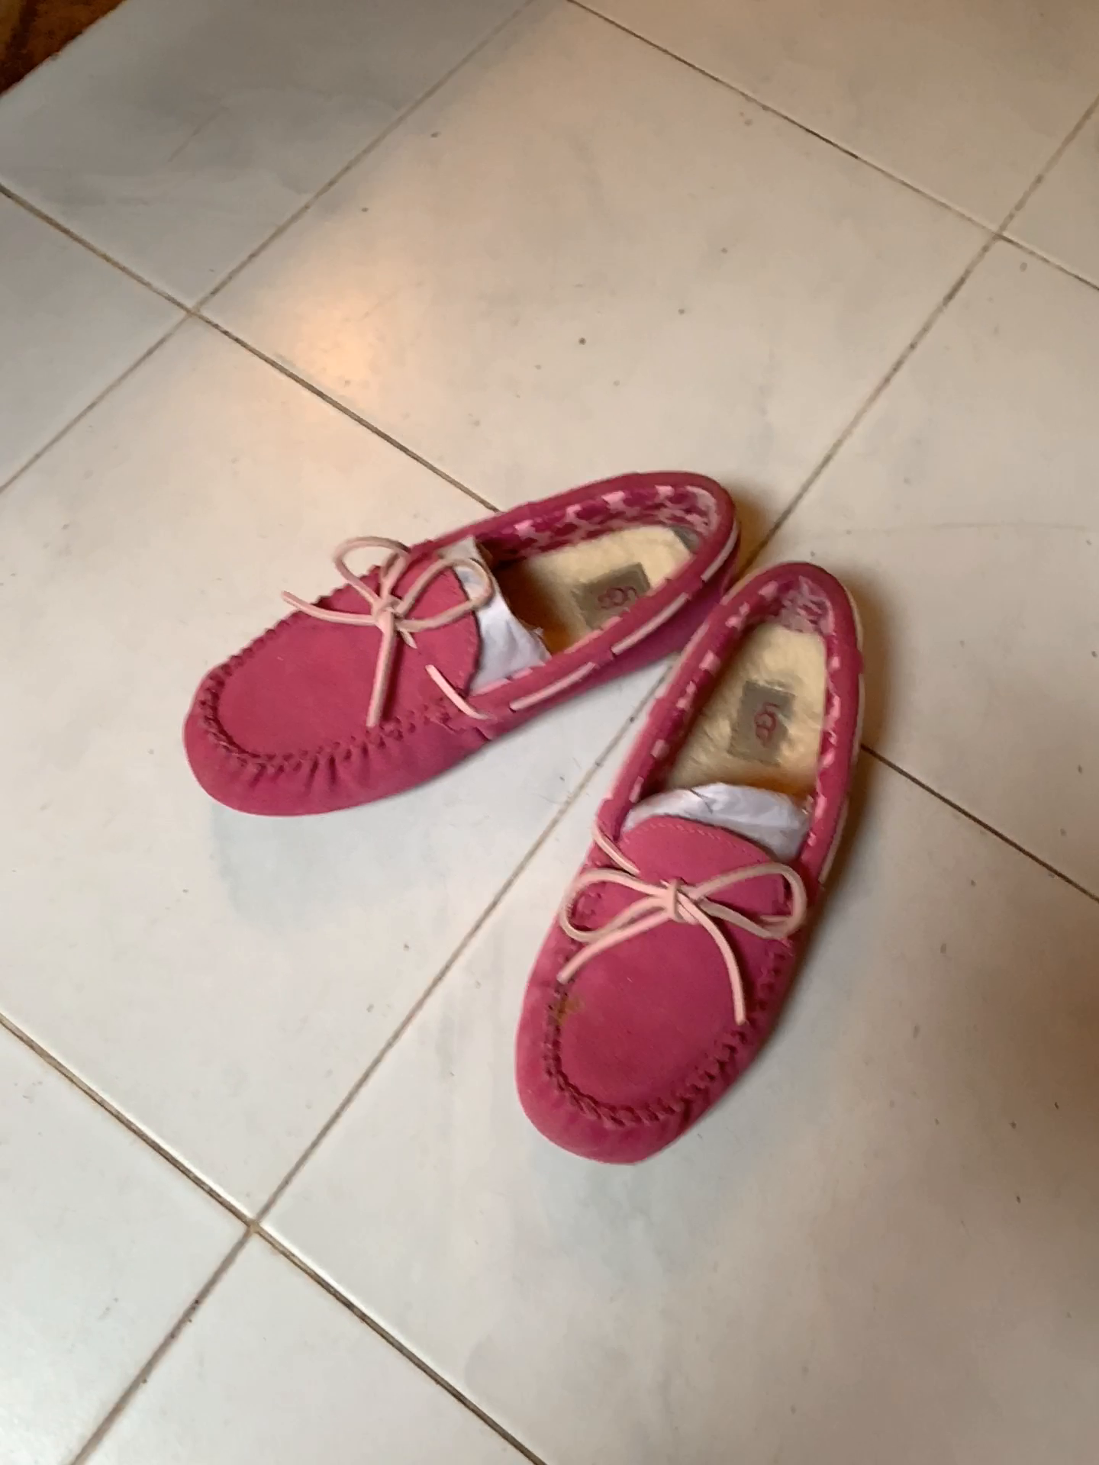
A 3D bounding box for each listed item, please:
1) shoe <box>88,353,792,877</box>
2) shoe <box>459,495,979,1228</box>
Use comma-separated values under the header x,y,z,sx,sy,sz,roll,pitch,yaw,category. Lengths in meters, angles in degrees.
x,y,z,sx,sy,sz,roll,pitch,yaw,category
-0.037,-0.044,0.430,0.227,0.084,0.090,-25,72,-12,shoe
0.061,0.042,0.403,0.090,0.084,0.227,25,70,7,shoe
